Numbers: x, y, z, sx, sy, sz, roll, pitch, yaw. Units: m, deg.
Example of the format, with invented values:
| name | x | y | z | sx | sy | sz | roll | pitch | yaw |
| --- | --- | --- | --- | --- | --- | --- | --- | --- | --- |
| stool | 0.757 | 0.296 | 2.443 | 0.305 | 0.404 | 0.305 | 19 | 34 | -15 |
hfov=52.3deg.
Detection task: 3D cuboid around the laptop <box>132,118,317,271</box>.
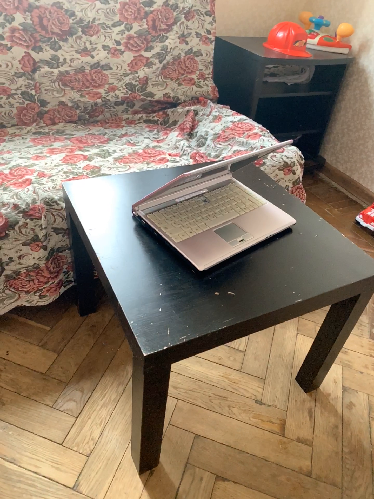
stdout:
| name | x | y | z | sx | sy | sz | roll | pitch | yaw |
| --- | --- | --- | --- | --- | --- | --- | --- | --- | --- |
| laptop | 0.075 | -0.136 | 0.812 | 0.306 | 0.156 | 0.226 | -25 | 50 | -34 |
